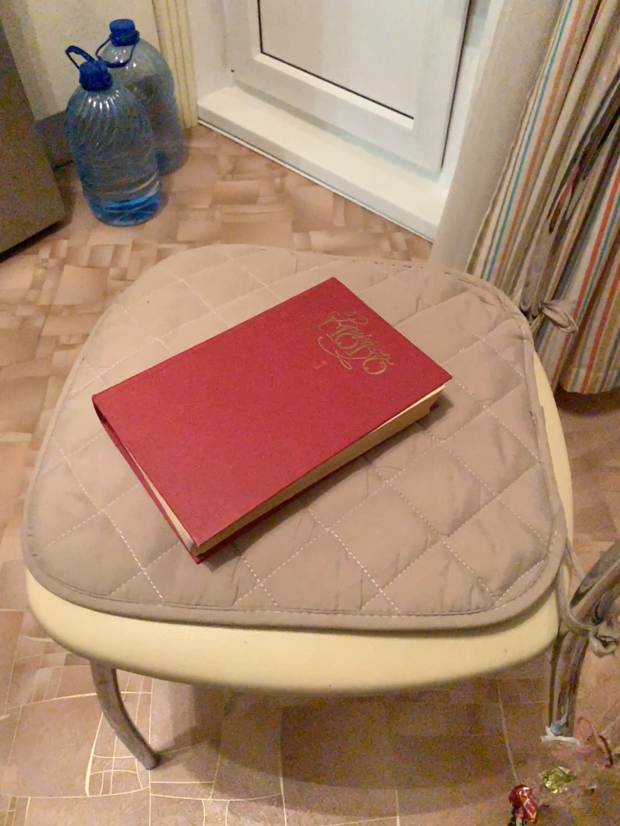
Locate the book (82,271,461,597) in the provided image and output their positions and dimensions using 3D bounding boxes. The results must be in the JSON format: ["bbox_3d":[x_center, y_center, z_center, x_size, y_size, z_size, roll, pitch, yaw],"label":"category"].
[{"bbox_3d":[-0.024,0.002,0.434,0.201,0.060,0.141,-30,58,-22],"label":"book"}]
